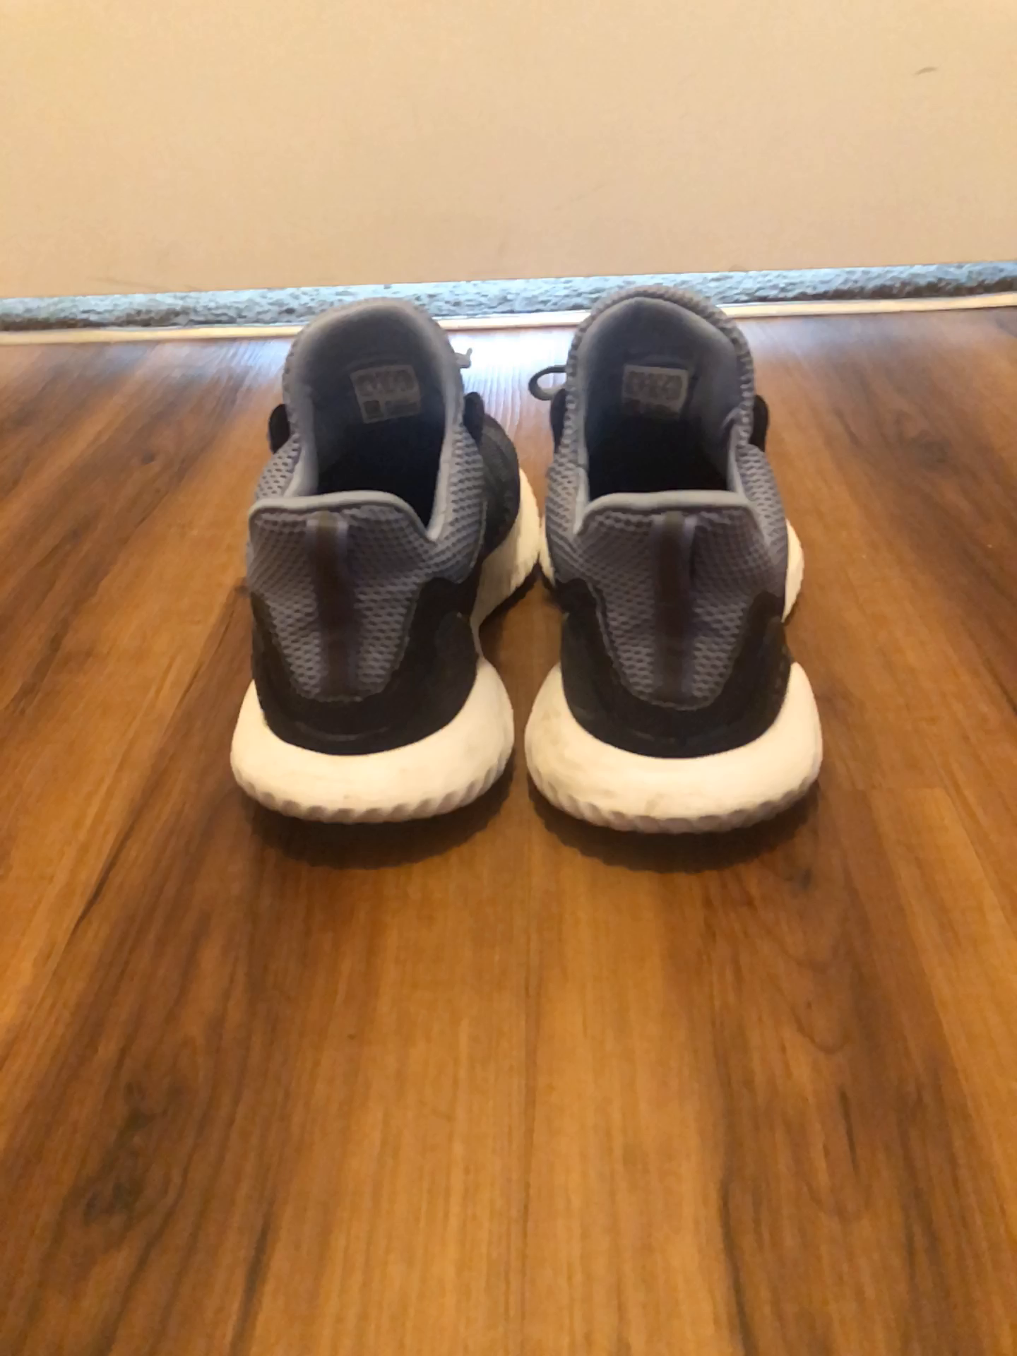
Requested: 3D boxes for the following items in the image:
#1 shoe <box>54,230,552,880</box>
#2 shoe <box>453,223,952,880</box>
[{"bbox_3d":[-0.050,-0.082,0.482,0.133,0.134,0.335,-1,34,3],"label":"shoe"},{"bbox_3d":[0.071,-0.084,0.472,0.131,0.130,0.336,1,34,7],"label":"shoe"}]
